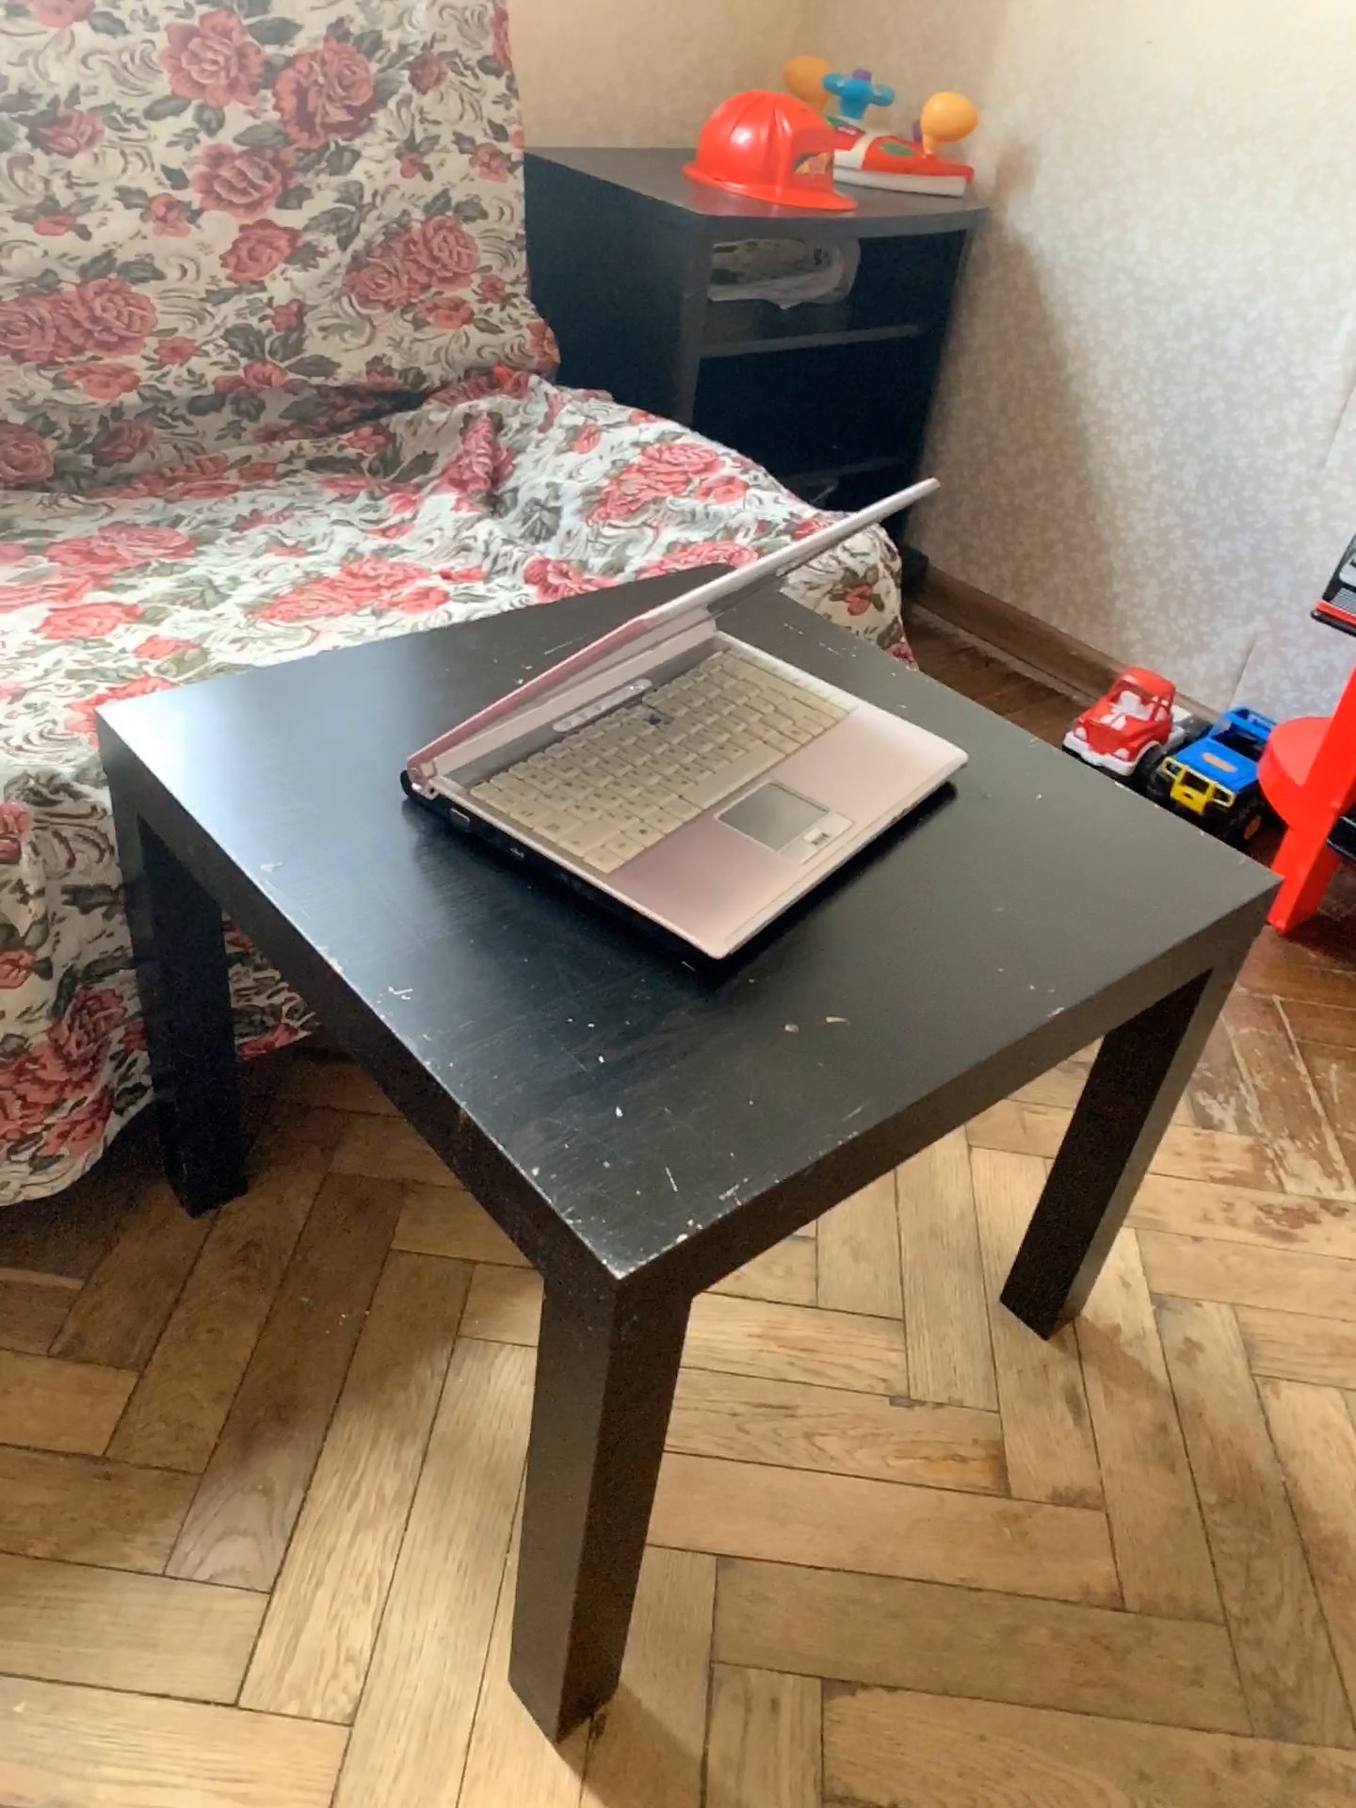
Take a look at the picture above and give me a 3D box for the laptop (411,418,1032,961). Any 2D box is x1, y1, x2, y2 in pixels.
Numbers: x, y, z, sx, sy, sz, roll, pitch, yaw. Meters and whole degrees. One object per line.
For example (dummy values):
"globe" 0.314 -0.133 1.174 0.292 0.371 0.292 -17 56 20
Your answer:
"laptop" 0.030 -0.150 0.830 0.225 0.156 0.307 29 41 23
